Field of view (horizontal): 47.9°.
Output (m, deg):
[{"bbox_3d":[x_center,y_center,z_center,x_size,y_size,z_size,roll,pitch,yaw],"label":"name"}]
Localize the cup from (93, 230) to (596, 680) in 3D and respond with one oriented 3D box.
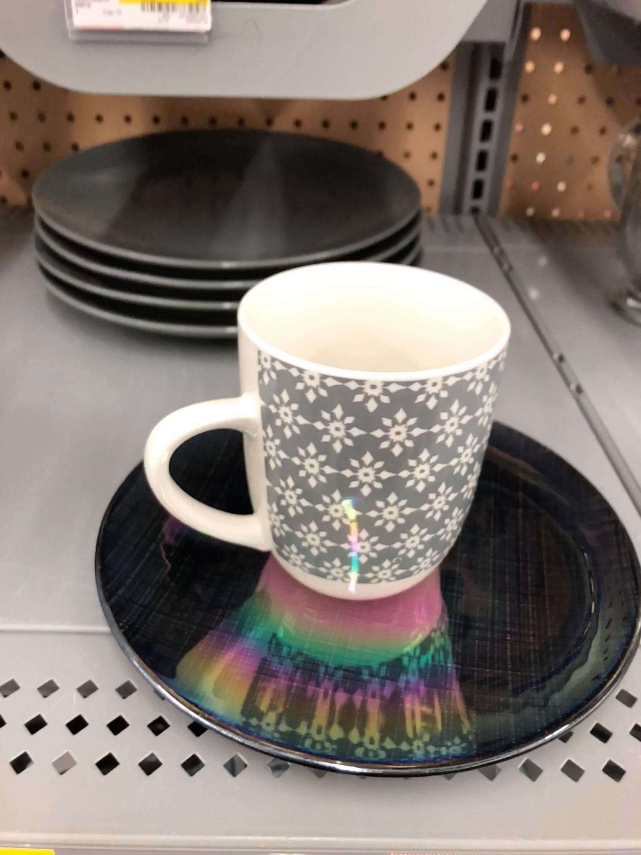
[{"bbox_3d":[0.001,0.000,0.250,0.129,0.096,0.094,-11,36,-19],"label":"cup"}]
